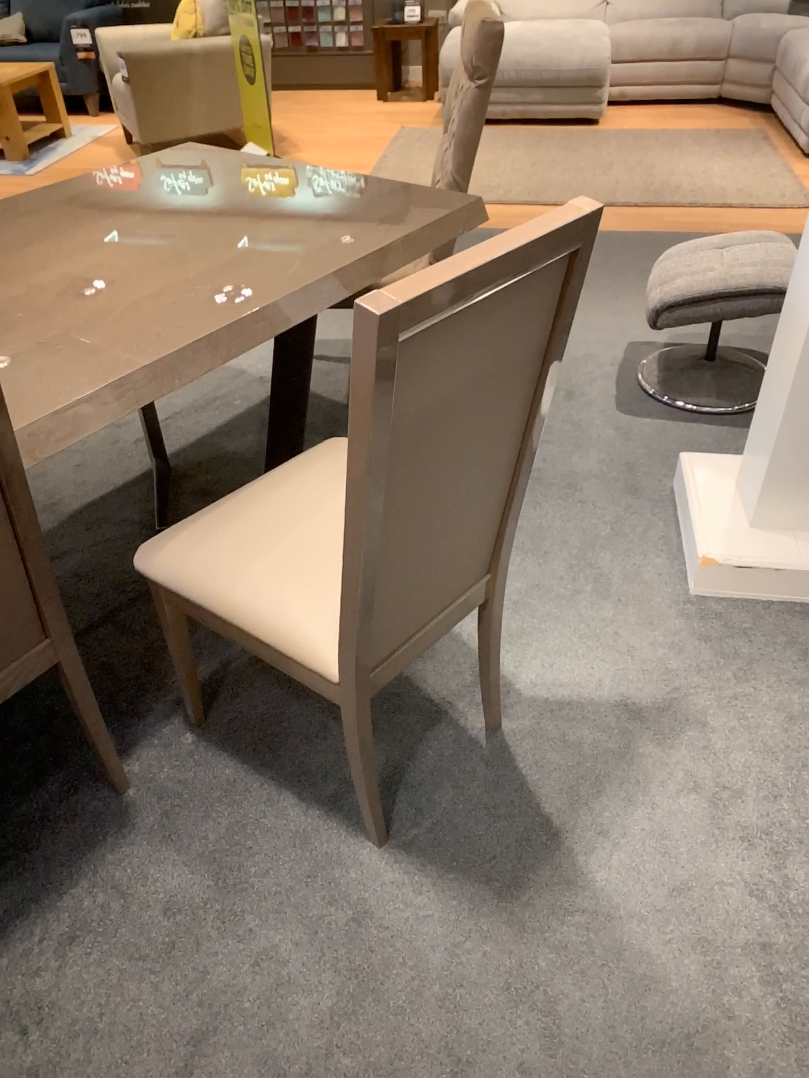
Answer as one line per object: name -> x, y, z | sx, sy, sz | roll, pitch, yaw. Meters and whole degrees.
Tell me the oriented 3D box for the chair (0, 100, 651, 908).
chair -> -0.100, -0.043, 1.263 | 0.584, 0.976, 0.500 | 30, 49, 31
